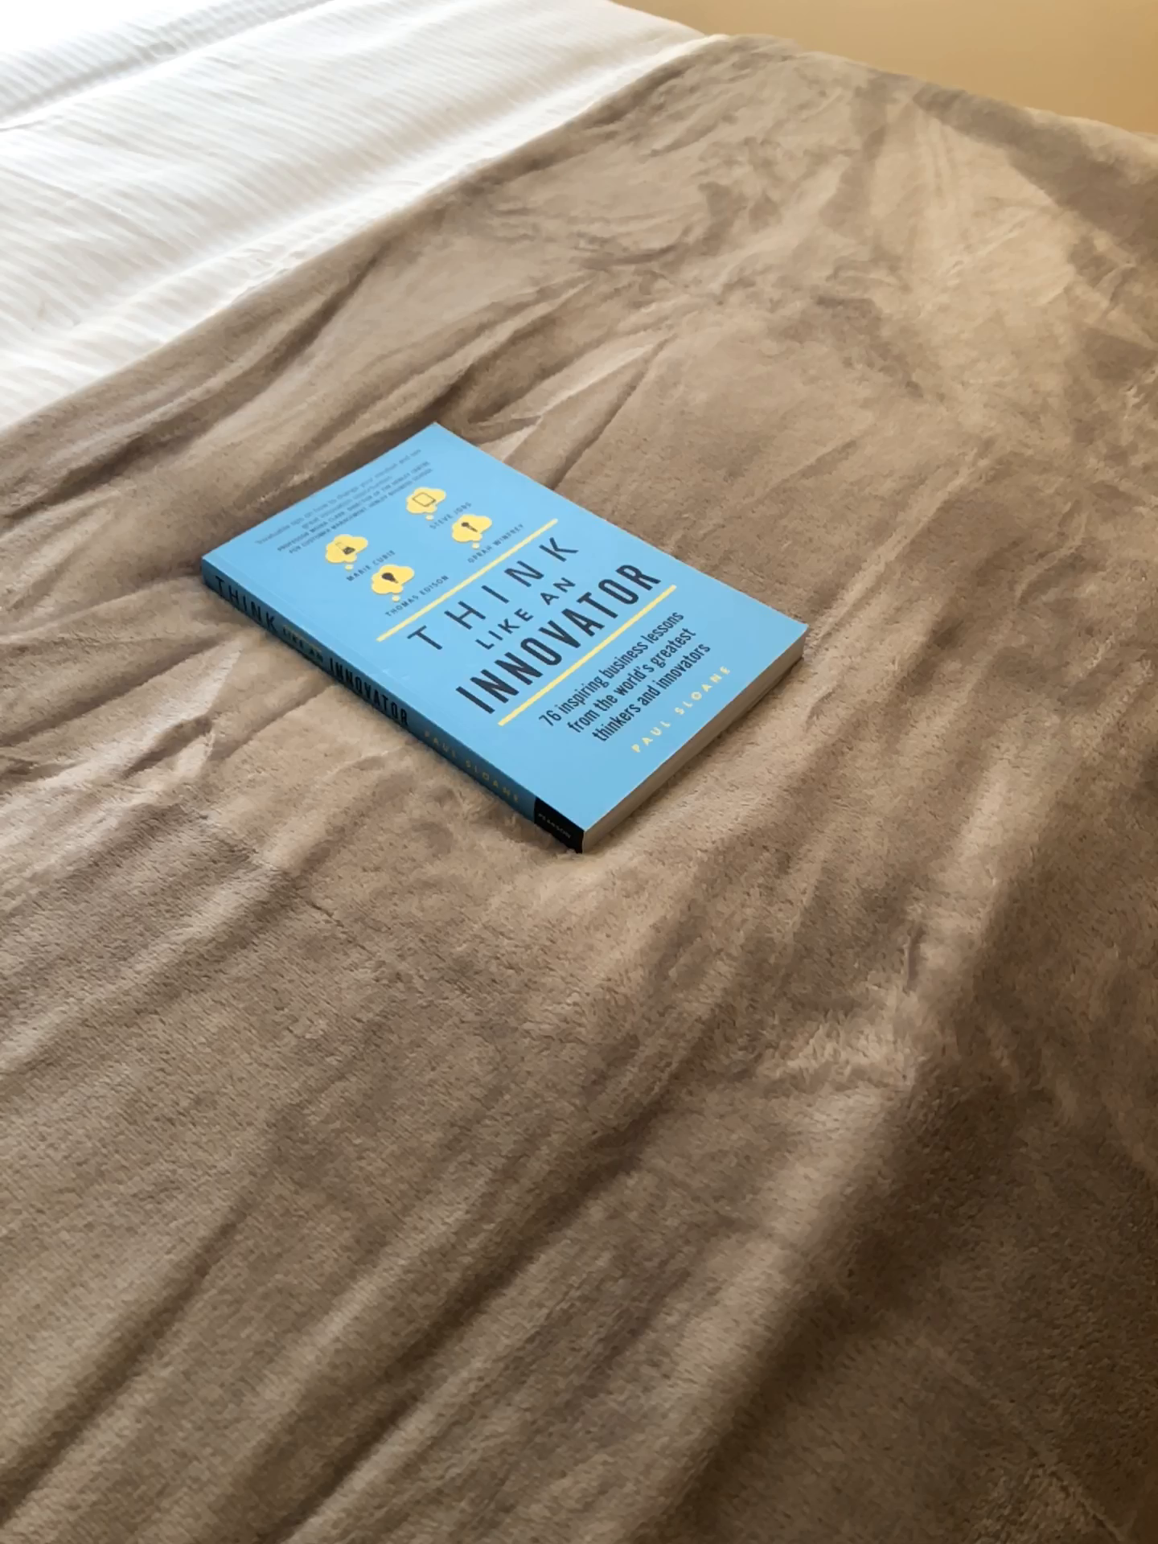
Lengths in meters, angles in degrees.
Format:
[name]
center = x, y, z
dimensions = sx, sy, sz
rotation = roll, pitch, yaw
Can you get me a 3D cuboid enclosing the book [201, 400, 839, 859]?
[book]
center = -0.027, -0.071, 0.519
dimensions = 0.220, 0.020, 0.141
rotation = 34, 58, 26
